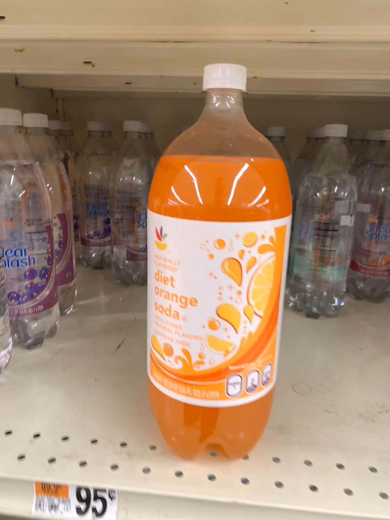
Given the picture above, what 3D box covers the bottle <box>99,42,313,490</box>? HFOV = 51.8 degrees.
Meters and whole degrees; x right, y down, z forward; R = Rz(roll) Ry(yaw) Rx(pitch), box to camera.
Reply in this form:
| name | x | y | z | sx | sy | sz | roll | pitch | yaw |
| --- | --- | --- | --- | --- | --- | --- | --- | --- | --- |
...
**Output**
| name | x | y | z | sx | sy | sz | roll | pitch | yaw |
| --- | --- | --- | --- | --- | --- | --- | --- | --- | --- |
| bottle | 0.013 | 0.005 | 0.312 | 0.120 | 0.289 | 0.110 | 1 | 17 | 0 |
